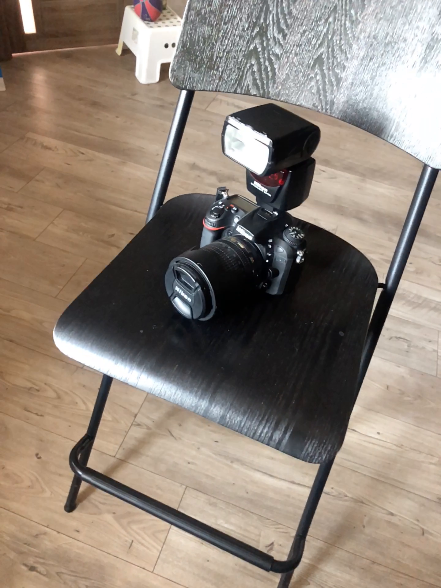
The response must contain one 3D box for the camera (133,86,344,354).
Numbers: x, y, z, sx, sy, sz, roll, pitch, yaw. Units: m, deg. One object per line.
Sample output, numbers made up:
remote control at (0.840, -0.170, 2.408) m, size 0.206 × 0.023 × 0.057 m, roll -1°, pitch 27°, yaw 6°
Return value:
camera at (0.014, -0.082, 0.543) m, size 0.125 × 0.217 × 0.168 m, roll 35°, pitch 52°, yaw 27°
